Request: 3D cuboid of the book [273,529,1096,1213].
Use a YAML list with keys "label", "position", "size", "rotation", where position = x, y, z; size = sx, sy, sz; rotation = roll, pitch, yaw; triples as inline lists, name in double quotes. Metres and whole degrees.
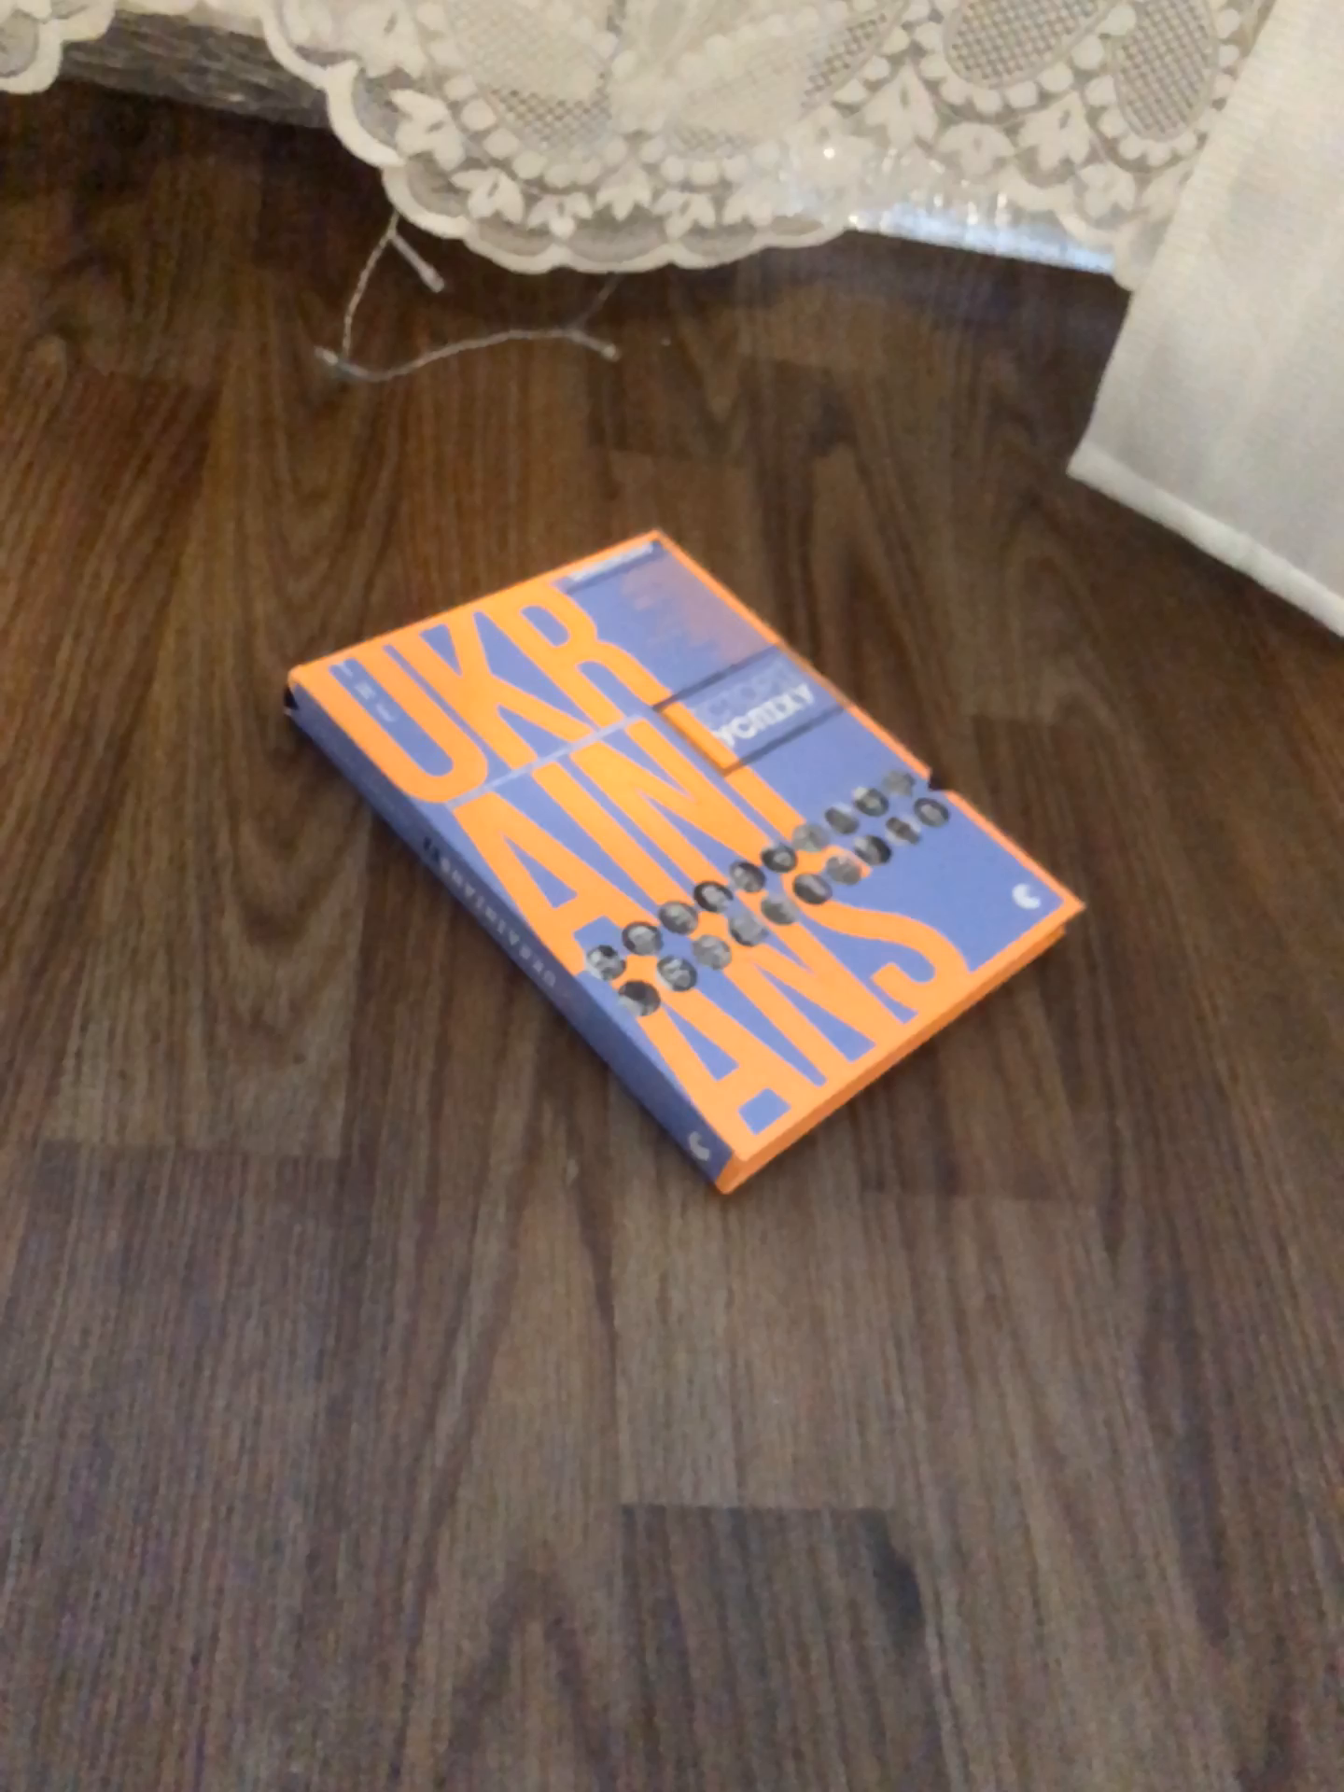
- label: "book"
  position: [0.005, -0.026, 0.478]
  size: [0.165, 0.020, 0.216]
  rotation: [-30, 65, -36]
